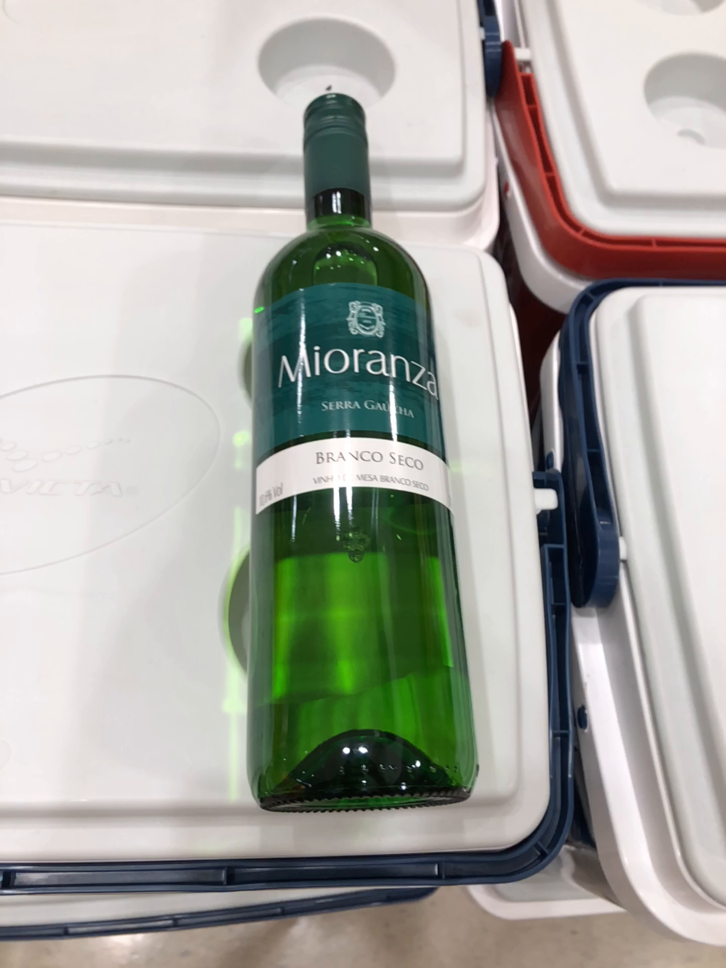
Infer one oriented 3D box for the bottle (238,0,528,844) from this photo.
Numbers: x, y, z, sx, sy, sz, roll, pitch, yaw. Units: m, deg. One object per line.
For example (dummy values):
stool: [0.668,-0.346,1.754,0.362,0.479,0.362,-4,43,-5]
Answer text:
bottle: [-0.004,-0.052,0.334,0.080,0.070,0.361,-1,64,-4]
